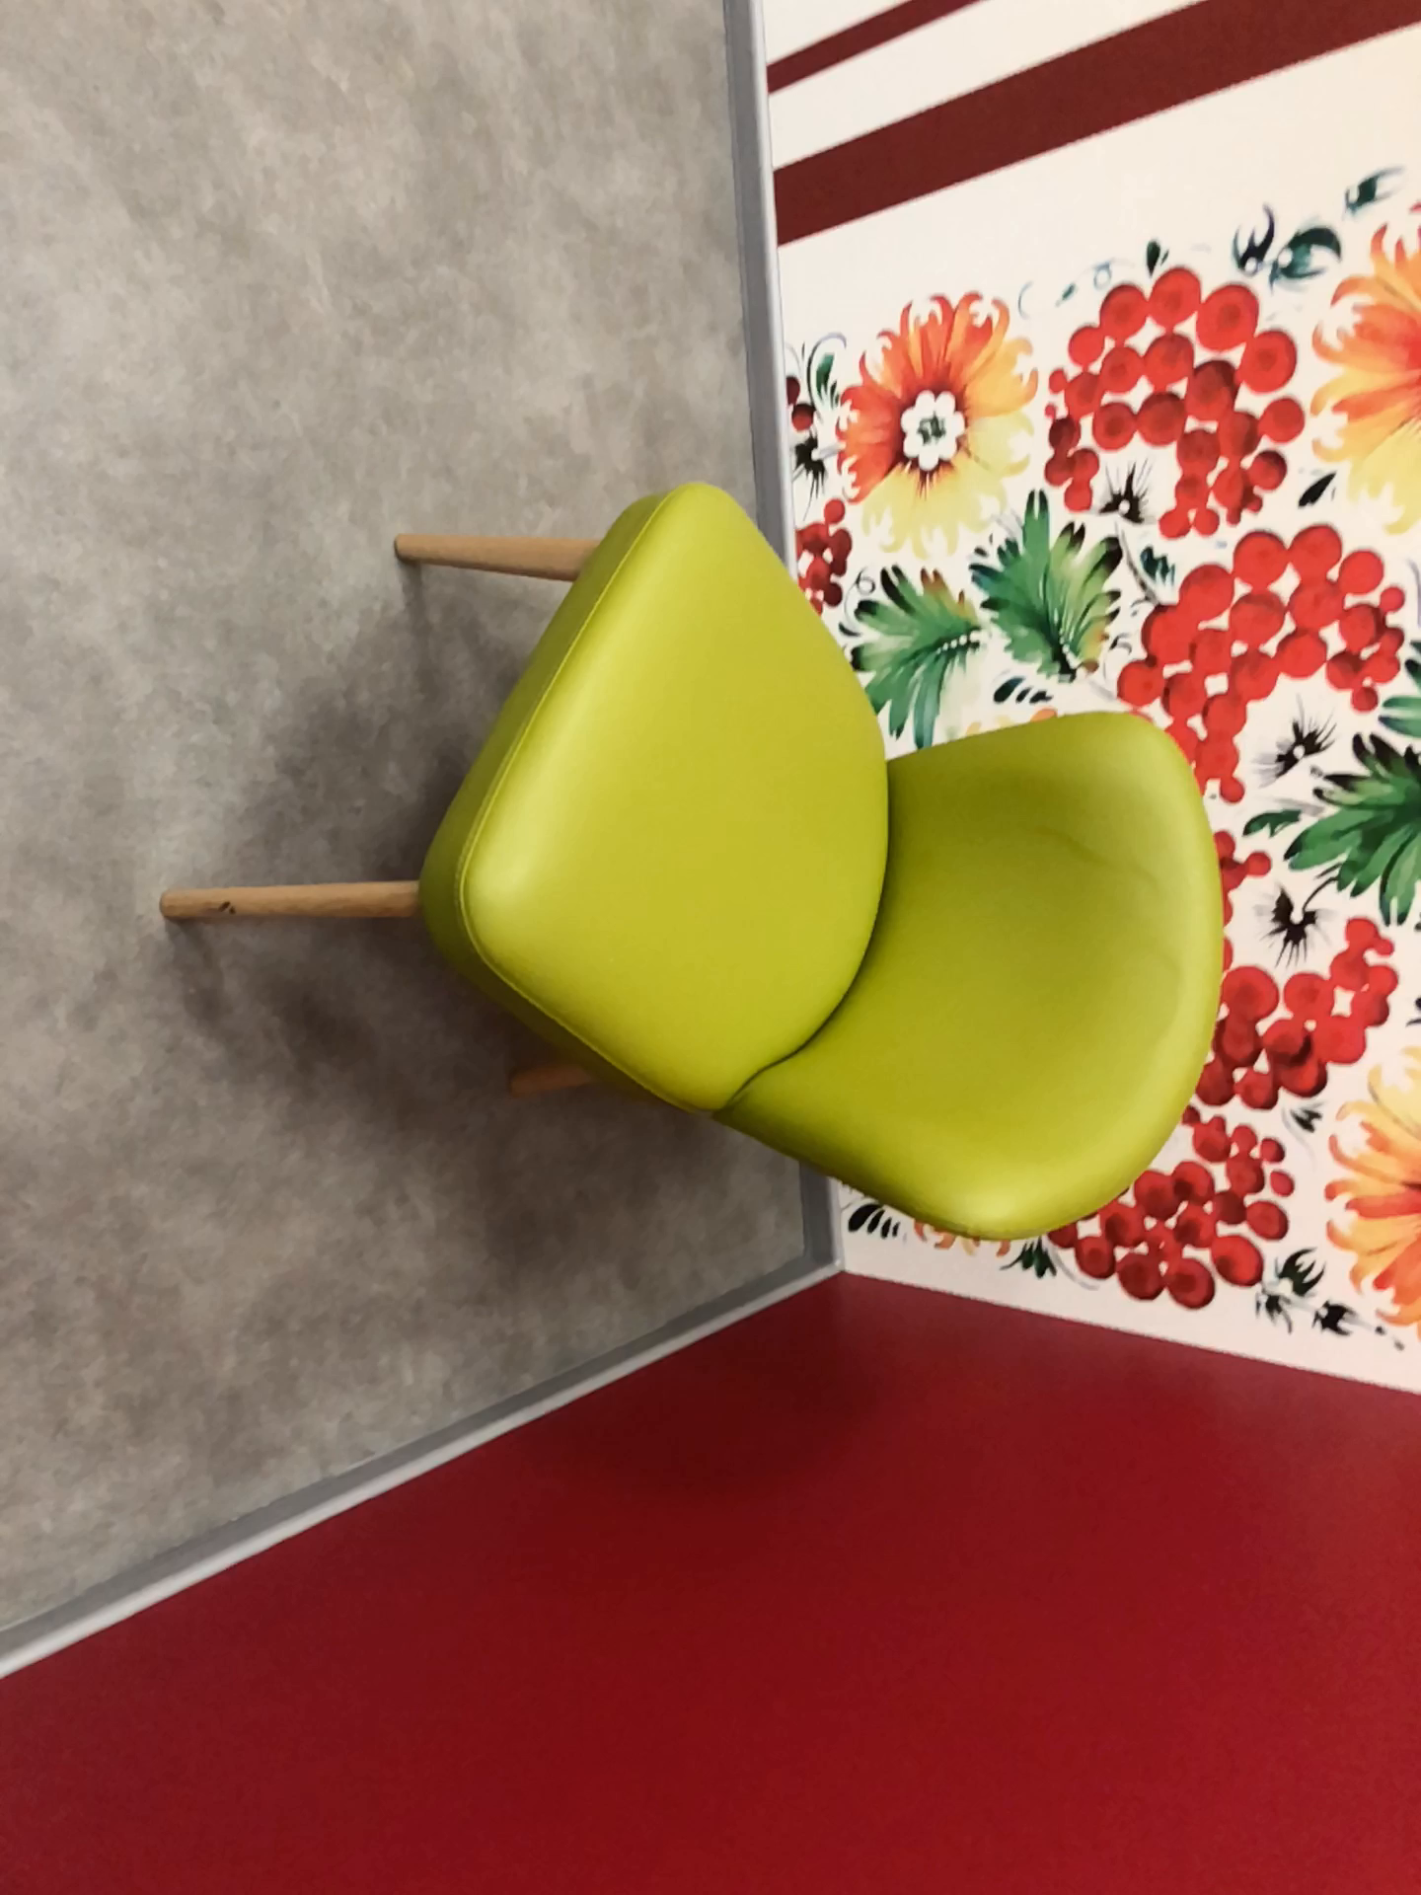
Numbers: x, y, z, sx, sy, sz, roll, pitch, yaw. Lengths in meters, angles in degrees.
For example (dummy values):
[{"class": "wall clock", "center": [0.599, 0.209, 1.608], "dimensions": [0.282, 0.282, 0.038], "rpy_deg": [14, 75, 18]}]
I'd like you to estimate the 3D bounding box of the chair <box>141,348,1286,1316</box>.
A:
[{"class": "chair", "center": [0.012, -0.080, 1.484], "dimensions": [0.572, 0.776, 0.521], "rpy_deg": [47, 58, -38]}]
